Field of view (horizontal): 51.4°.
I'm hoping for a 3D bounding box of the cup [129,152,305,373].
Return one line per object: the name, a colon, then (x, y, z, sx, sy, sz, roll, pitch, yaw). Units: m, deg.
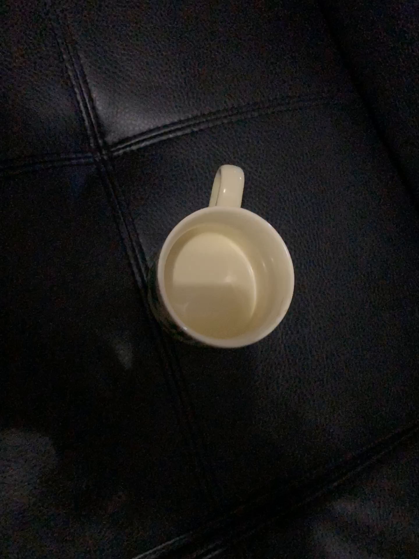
cup: (0.004, -0.005, 0.279, 0.090, 0.060, 0.119, 8, 77, -12)
